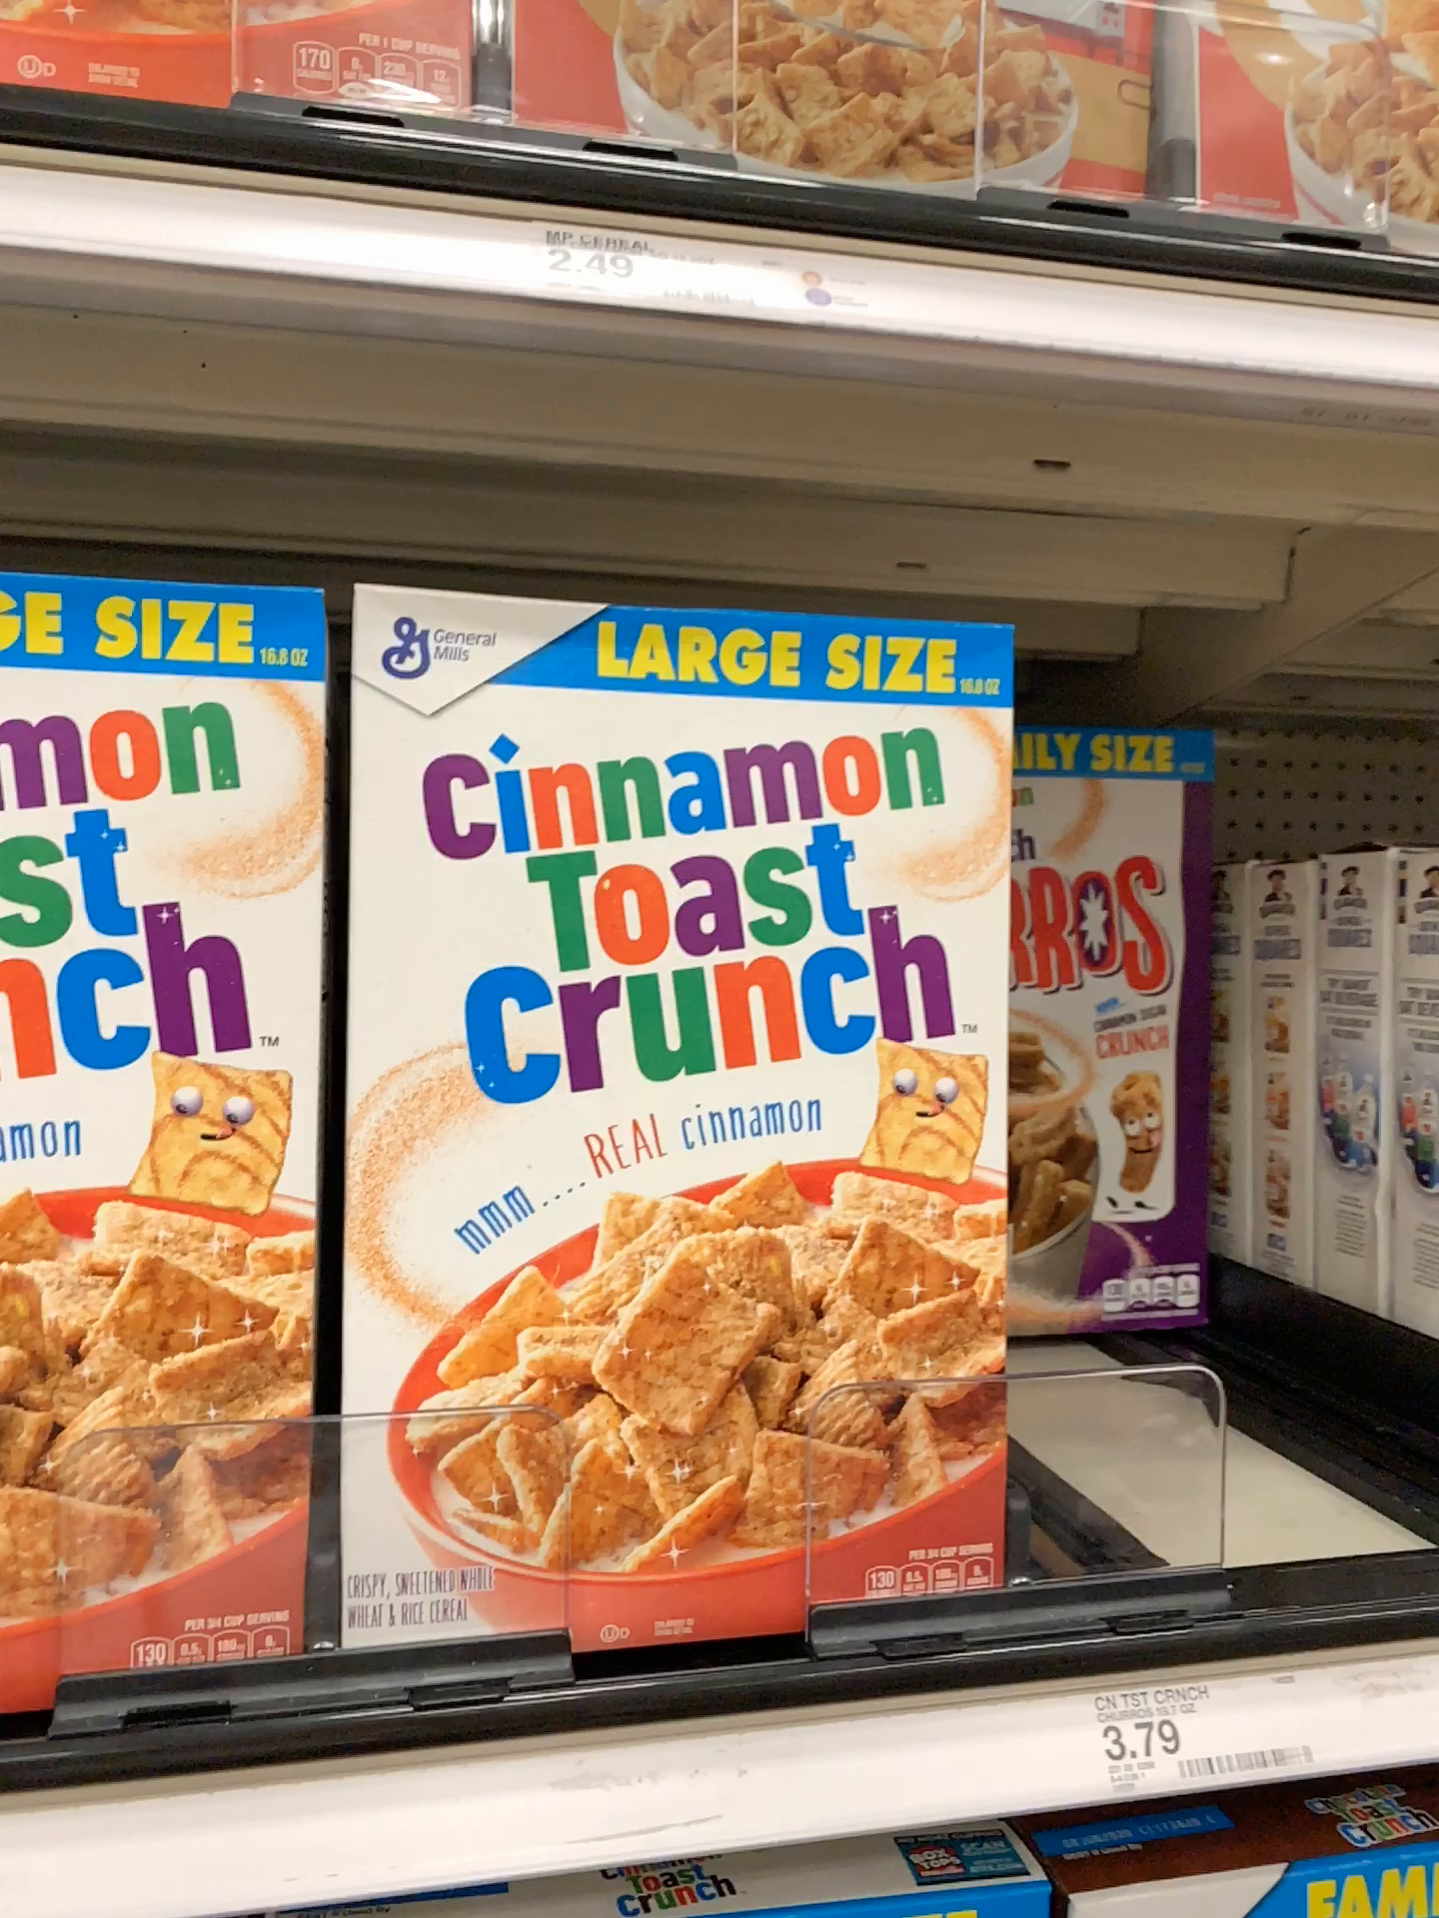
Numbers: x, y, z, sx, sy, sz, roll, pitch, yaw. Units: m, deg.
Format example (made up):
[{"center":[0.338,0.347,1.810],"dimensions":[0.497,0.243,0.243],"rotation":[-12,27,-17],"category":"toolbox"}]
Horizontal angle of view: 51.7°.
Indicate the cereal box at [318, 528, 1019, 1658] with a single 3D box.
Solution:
[{"center":[-0.016,0.034,0.436],"dimensions":[0.190,0.290,0.070],"rotation":[0,0,-12],"category":"cereal box"}]
